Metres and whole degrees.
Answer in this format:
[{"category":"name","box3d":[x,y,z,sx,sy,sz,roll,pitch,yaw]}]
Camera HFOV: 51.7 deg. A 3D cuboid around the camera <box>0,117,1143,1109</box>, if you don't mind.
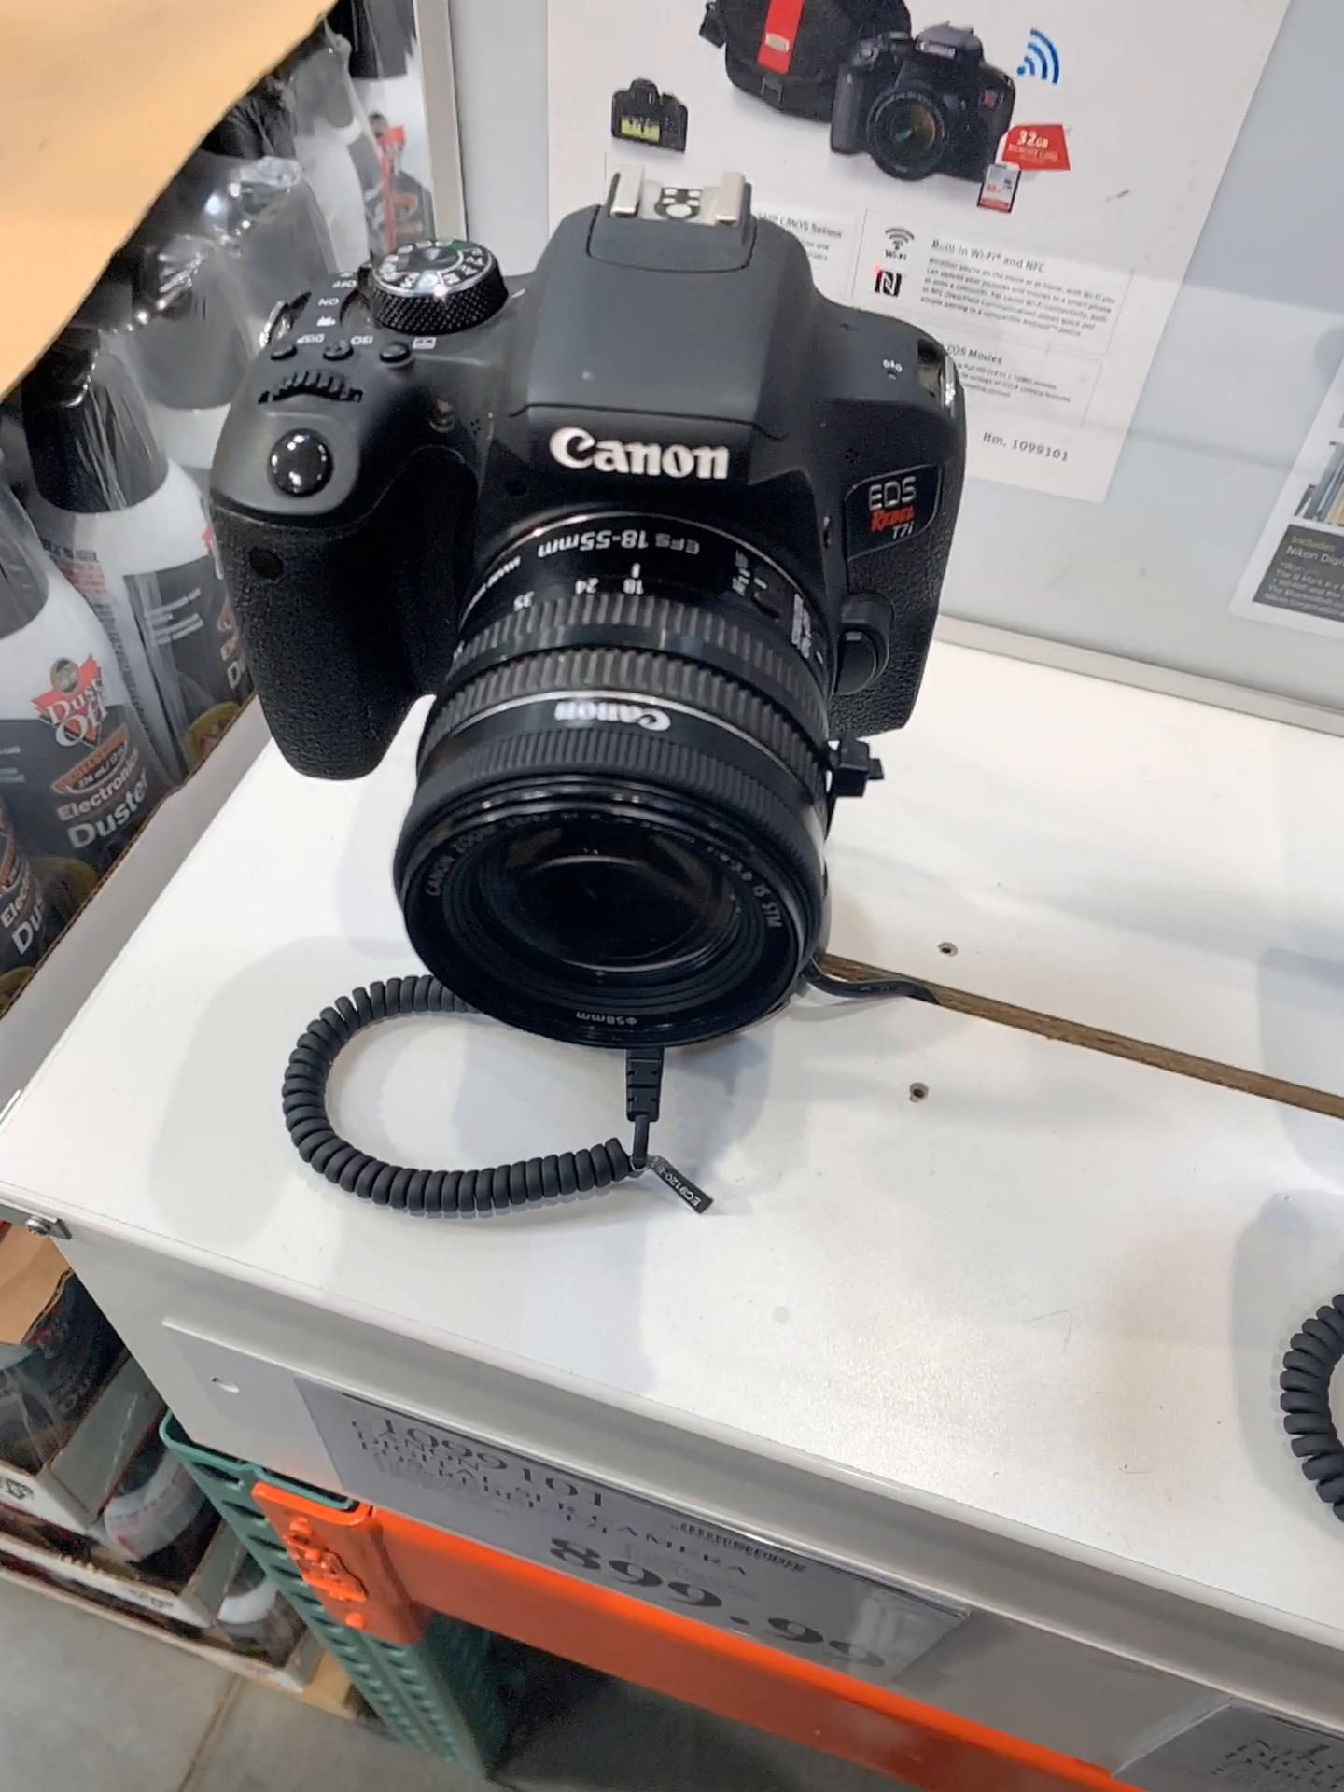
[{"category":"camera","box3d":[-0.011,-0.048,0.225,0.134,0.089,0.121,6,51,2]}]
